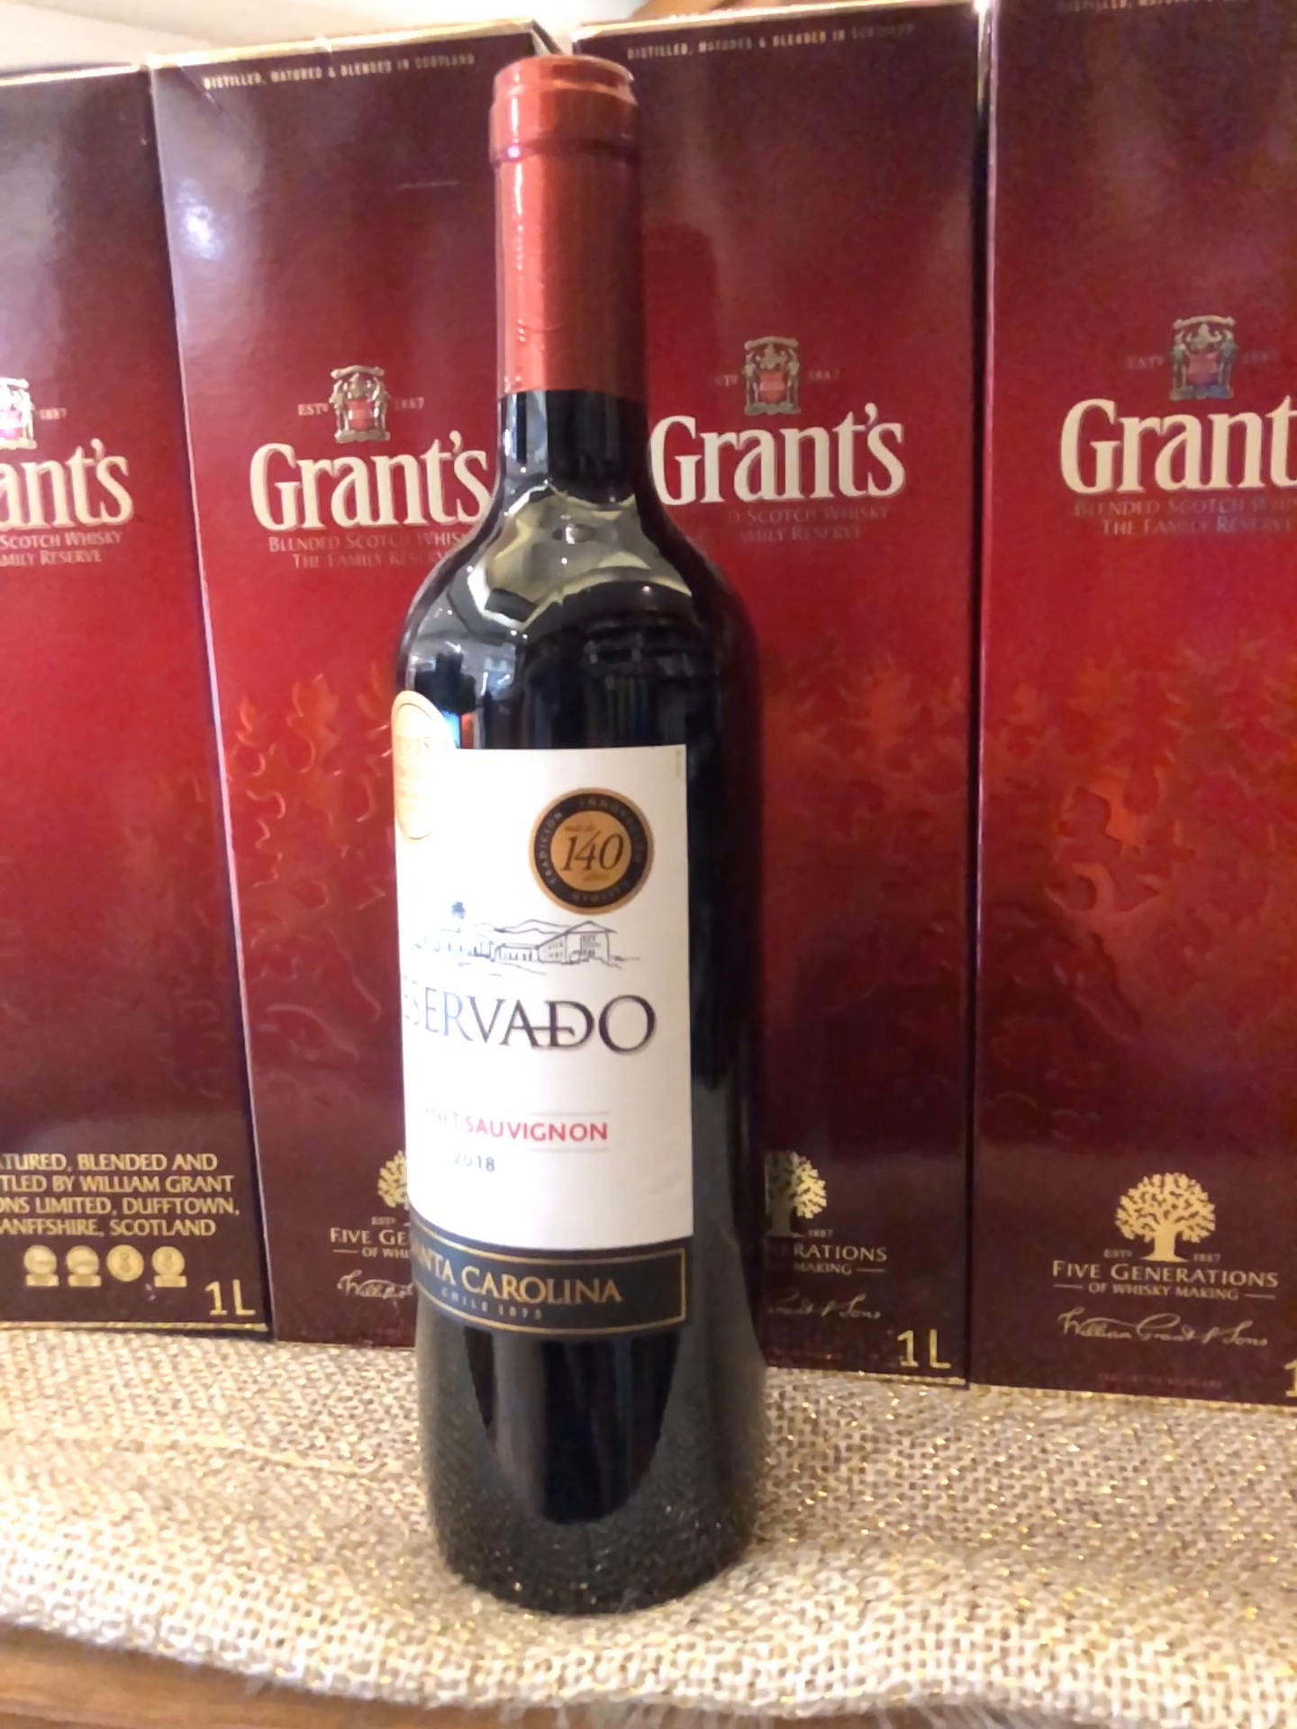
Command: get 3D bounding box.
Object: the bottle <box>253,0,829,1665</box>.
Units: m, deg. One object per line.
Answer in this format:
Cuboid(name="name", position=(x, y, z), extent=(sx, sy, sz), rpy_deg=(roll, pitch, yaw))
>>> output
Cuboid(name="bottle", position=(-0.016, -0.006, 0.285), extent=(0.080, 0.289, 0.070), rpy_deg=(4, 11, 26))
